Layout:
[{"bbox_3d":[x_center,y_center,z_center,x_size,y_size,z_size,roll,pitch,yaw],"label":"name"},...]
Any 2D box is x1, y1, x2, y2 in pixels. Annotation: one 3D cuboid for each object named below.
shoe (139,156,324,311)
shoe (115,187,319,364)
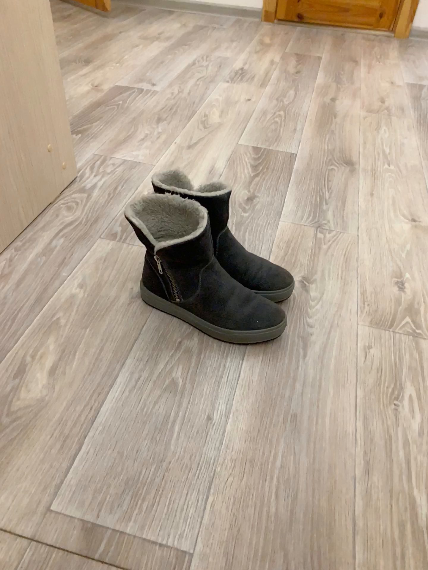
[{"bbox_3d":[0.024,-0.088,0.736,0.270,0.169,0.100,16,43,13],"label":"shoe"},{"bbox_3d":[-0.001,-0.017,0.678,0.270,0.179,0.100,17,43,14],"label":"shoe"}]
